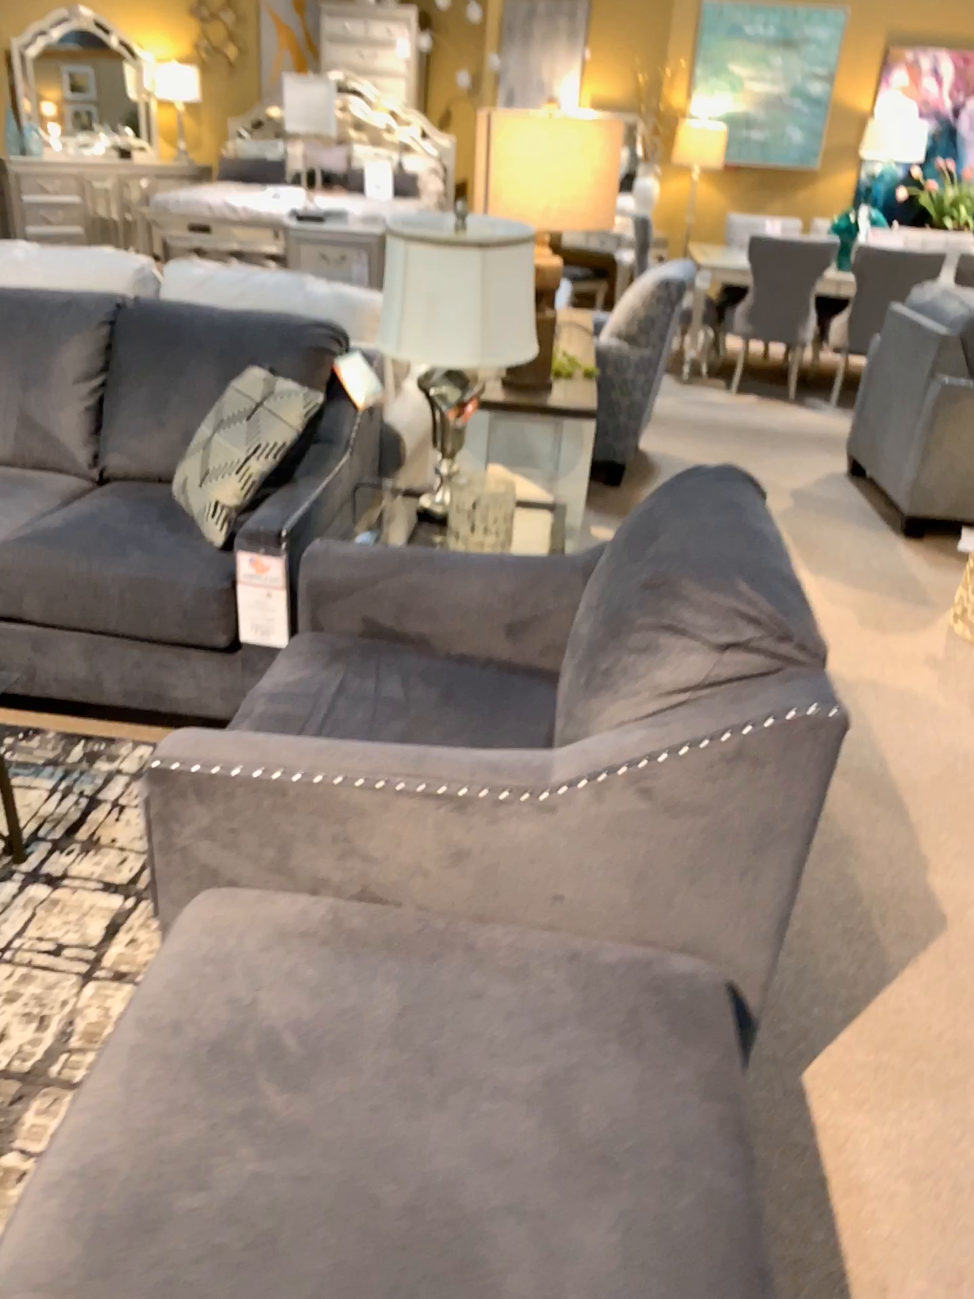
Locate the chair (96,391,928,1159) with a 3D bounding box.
[{"bbox_3d":[0.034,0.124,1.745,0.957,0.840,0.925,7,28,4],"label":"chair"}]
